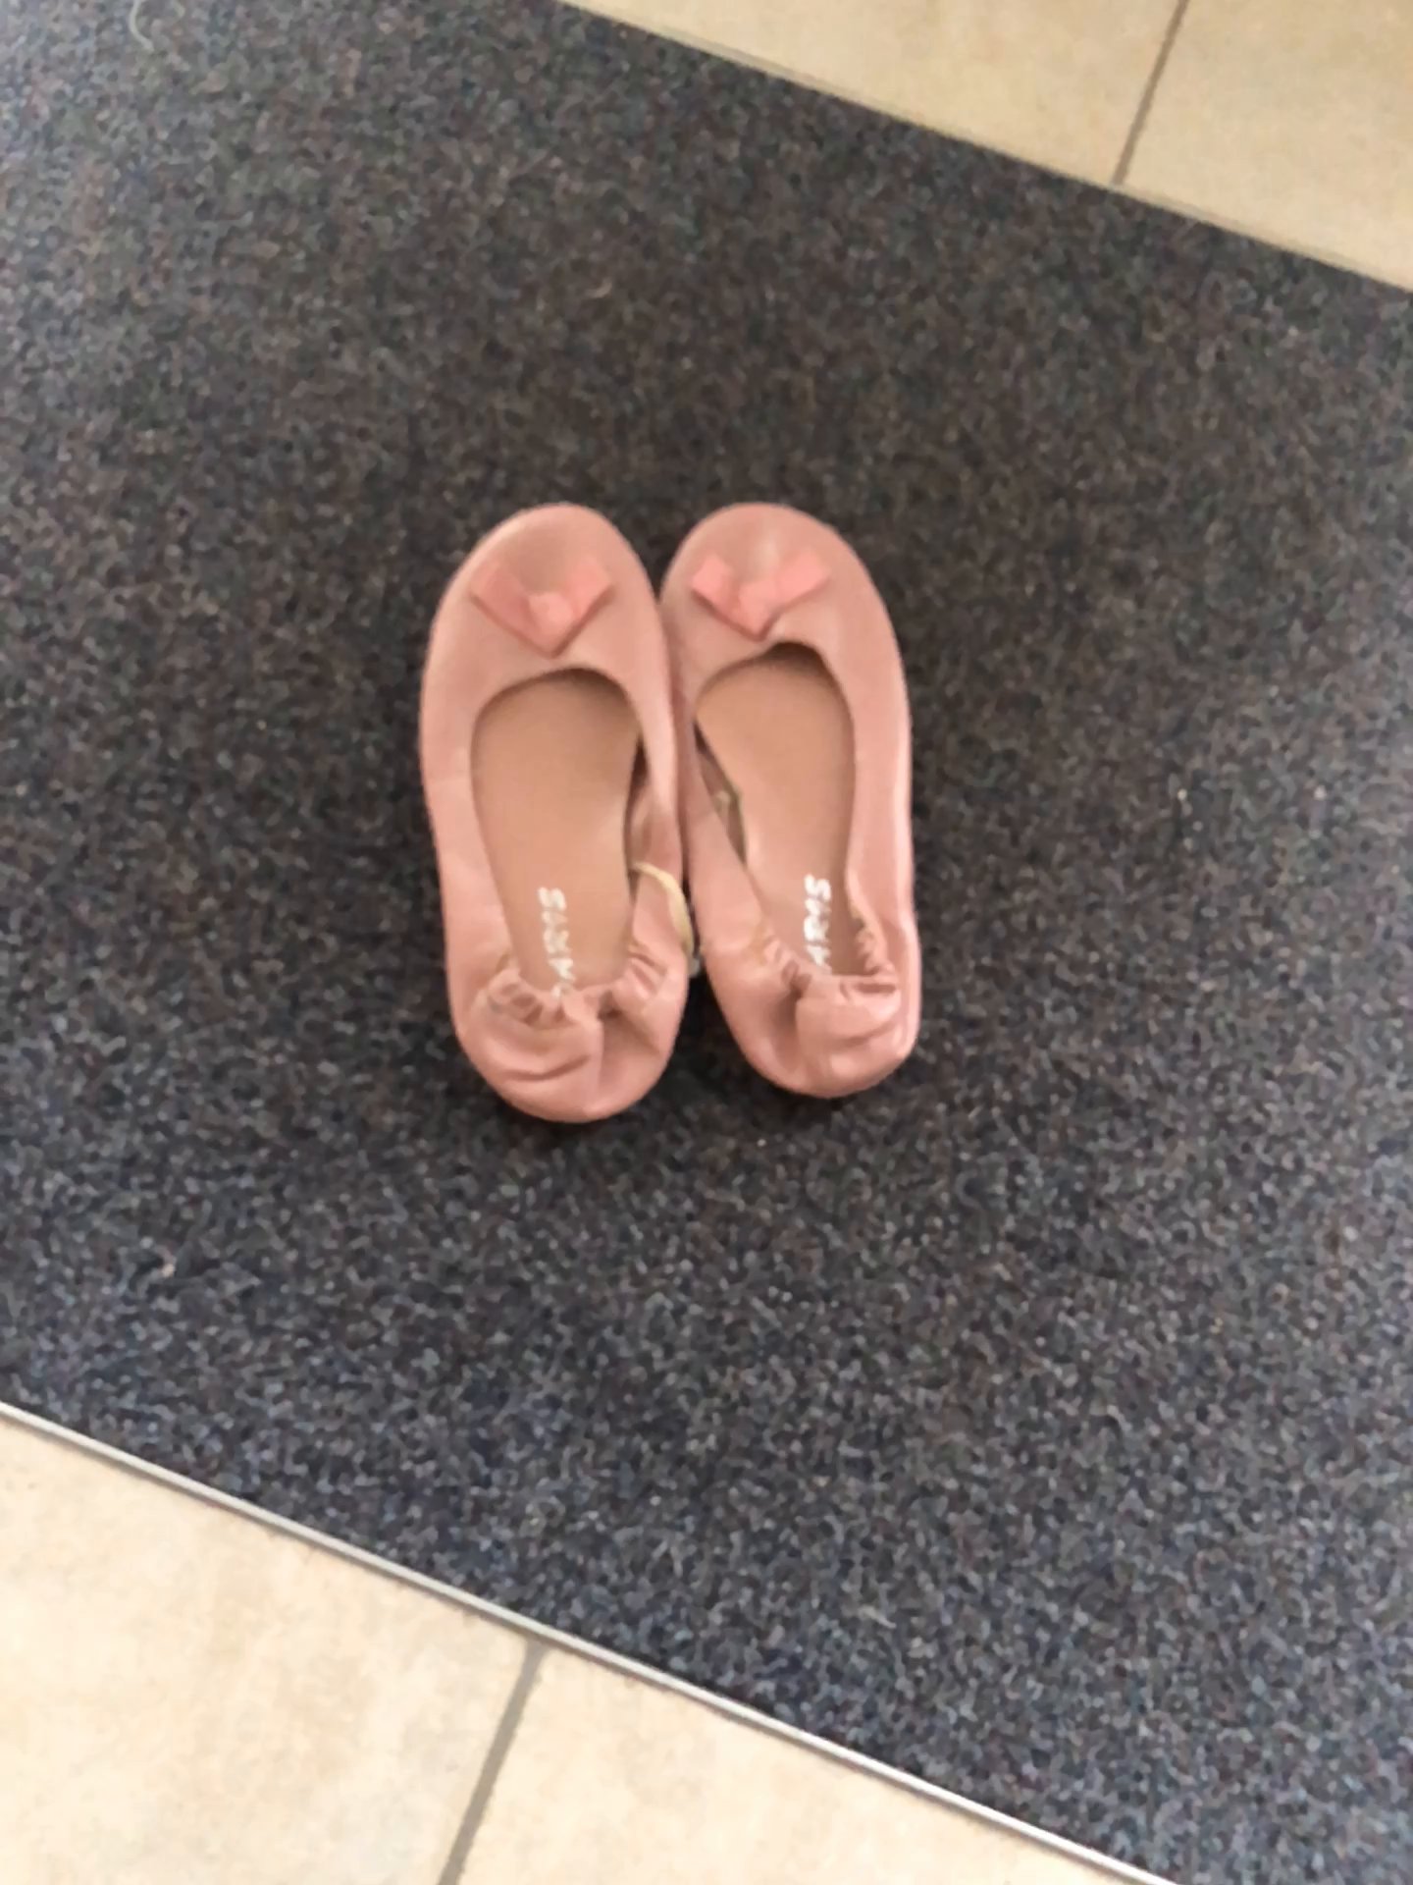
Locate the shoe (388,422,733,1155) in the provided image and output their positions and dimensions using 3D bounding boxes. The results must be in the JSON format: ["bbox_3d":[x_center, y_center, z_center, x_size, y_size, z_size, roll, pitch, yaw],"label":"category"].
[{"bbox_3d":[-0.052,-0.052,0.556,0.090,0.100,0.230,-6,73,-4],"label":"shoe"}]

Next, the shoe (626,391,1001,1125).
[{"bbox_3d":[0.030,-0.062,0.556,0.090,0.100,0.230,-6,73,-4],"label":"shoe"}]
